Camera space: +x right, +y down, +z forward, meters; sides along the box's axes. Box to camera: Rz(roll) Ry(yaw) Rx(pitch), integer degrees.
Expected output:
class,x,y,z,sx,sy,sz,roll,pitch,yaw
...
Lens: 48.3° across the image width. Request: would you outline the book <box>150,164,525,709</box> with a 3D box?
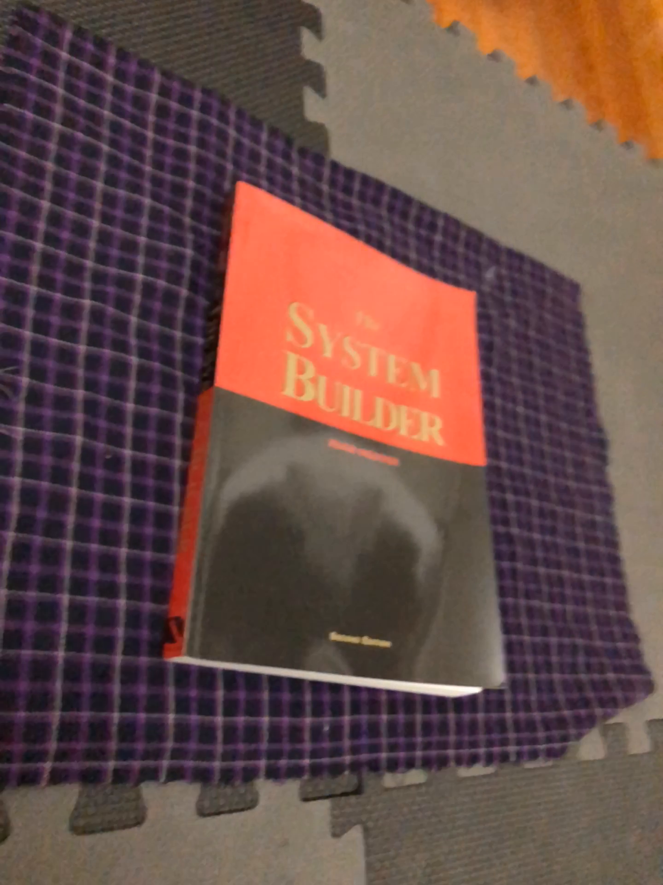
class,x,y,z,sx,sy,sz,roll,pitch,yaw
book,0.018,0.001,0.407,0.201,0.030,0.261,18,62,-32
